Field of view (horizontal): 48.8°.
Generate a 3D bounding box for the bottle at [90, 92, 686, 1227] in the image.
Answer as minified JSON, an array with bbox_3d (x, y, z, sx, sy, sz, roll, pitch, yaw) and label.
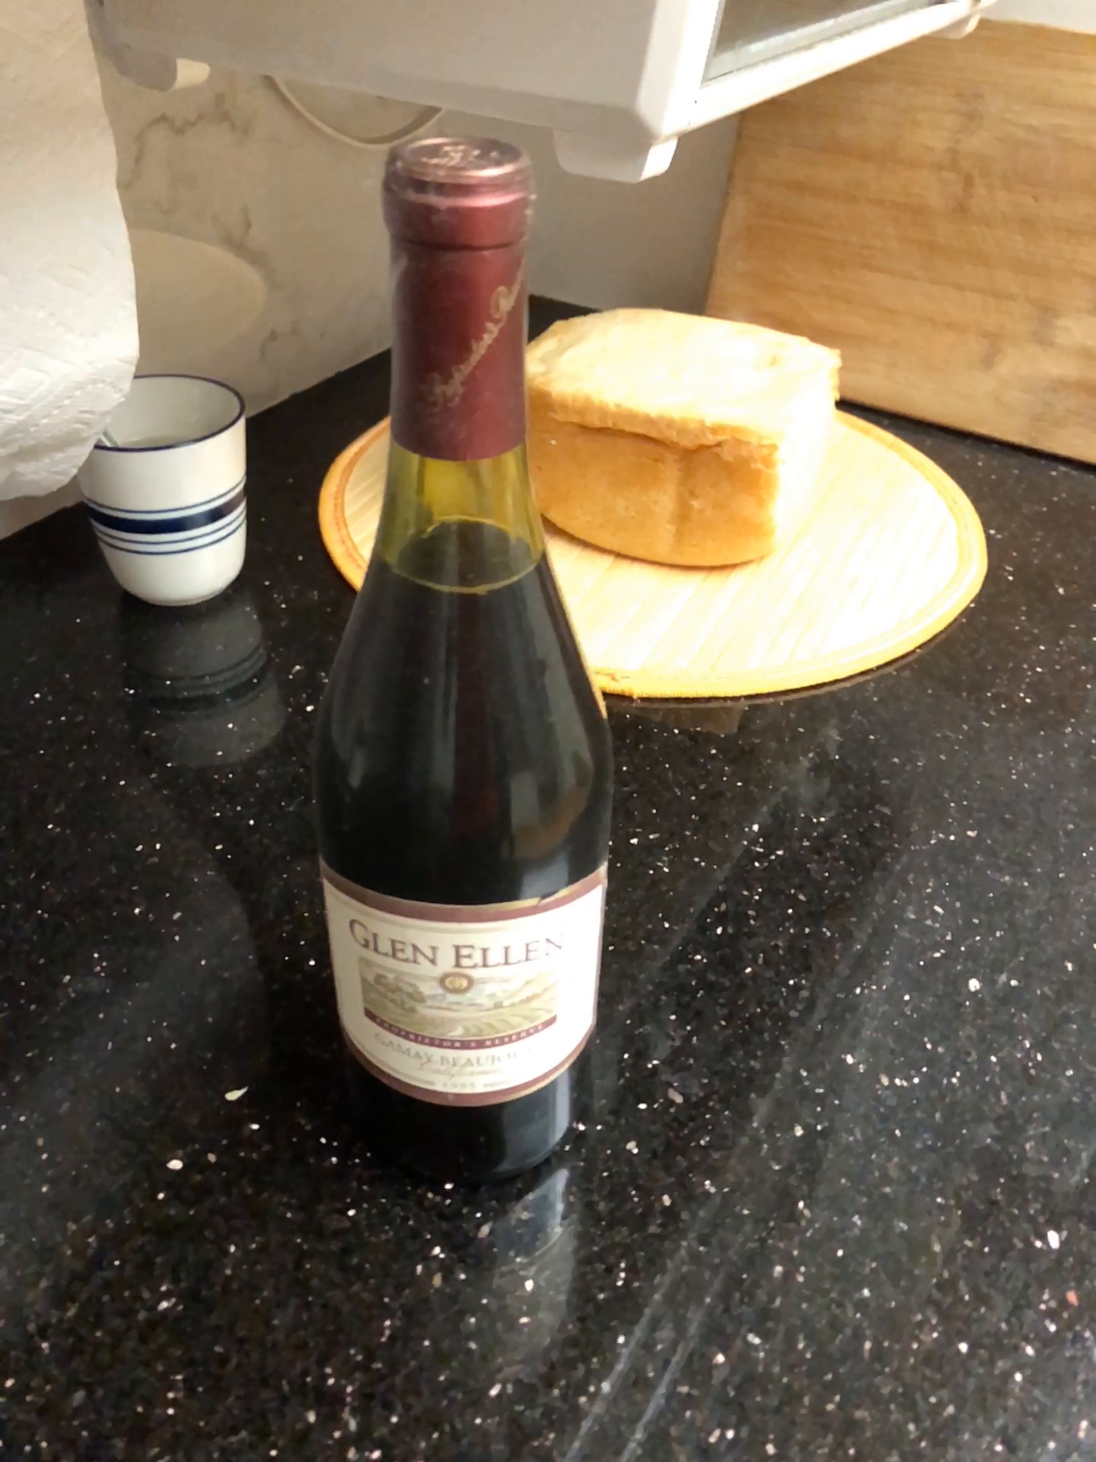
[{"bbox_3d":[-0.027,0.004,0.319,0.090,0.288,0.091,1,38,-1],"label":"bottle"}]
